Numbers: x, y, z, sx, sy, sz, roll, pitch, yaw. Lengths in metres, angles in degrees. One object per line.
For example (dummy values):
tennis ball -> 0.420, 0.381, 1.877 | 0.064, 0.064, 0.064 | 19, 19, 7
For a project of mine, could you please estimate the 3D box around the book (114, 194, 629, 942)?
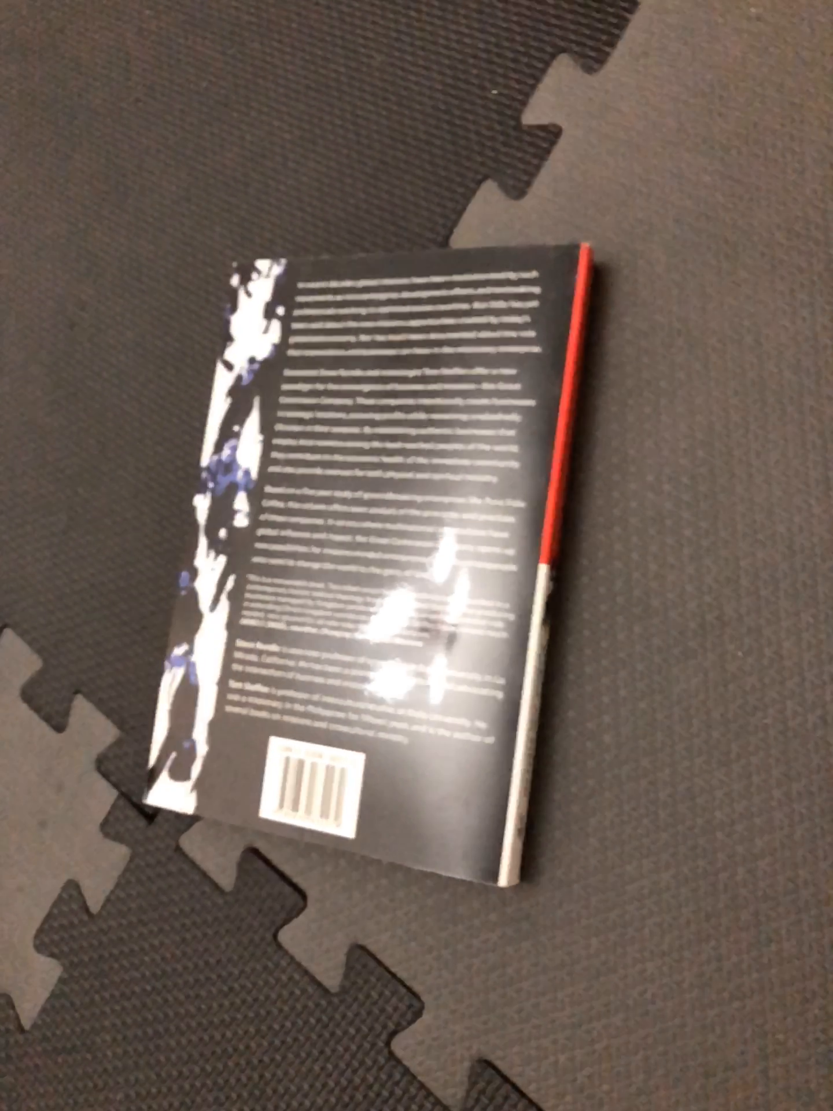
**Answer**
book -> -0.017, -0.007, 0.321 | 0.150, 0.020, 0.230 | 4, 80, 25

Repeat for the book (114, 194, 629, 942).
book -> -0.017, -0.007, 0.321 | 0.150, 0.020, 0.230 | 4, 80, 25
